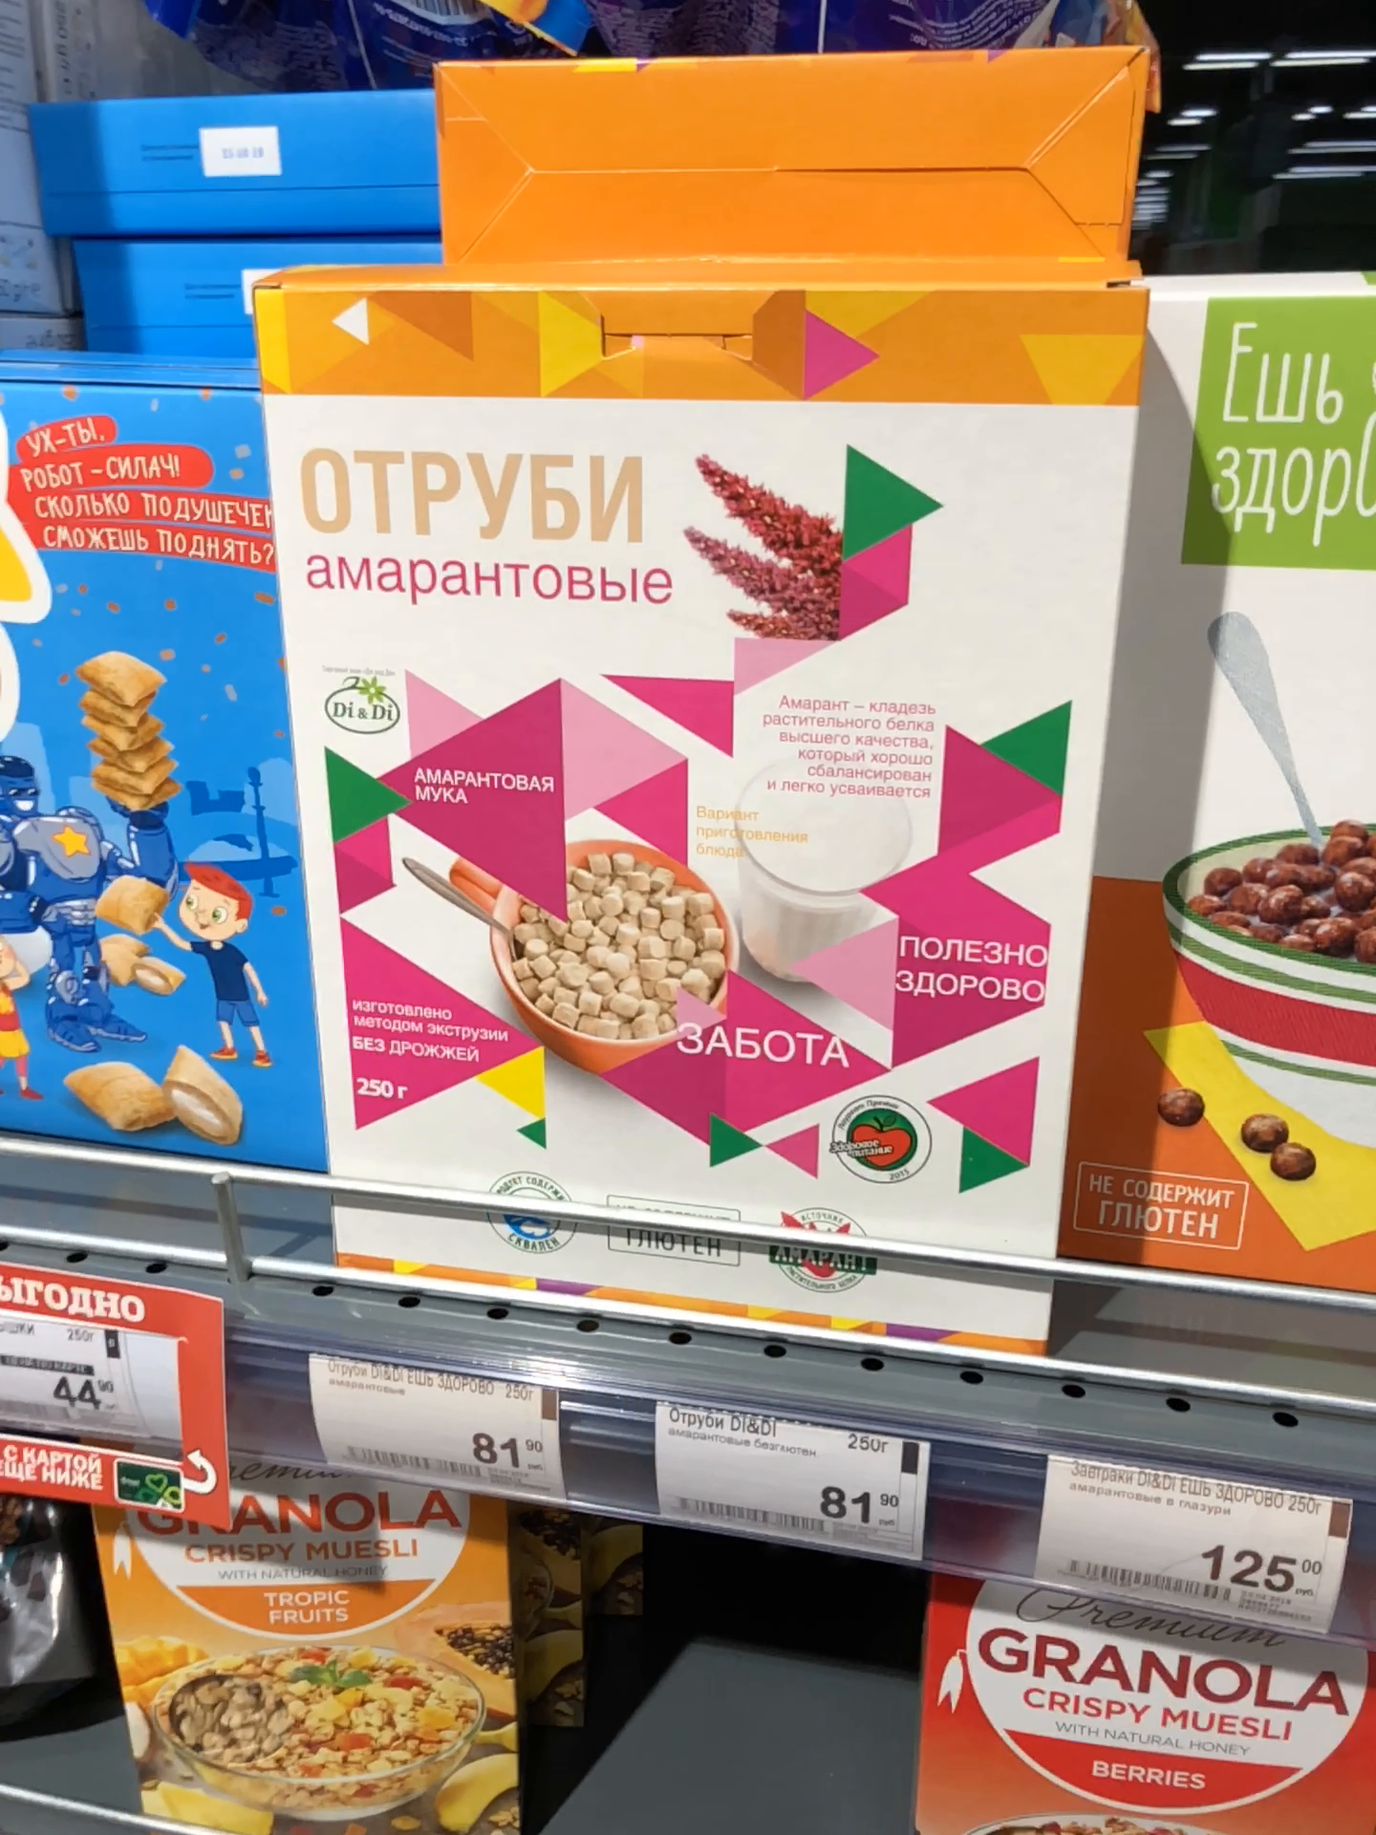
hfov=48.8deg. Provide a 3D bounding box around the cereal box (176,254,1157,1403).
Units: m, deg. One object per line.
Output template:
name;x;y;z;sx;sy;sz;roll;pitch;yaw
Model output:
cereal box;-0.004;-0.020;0.374;0.200;0.259;0.060;4;21;12
